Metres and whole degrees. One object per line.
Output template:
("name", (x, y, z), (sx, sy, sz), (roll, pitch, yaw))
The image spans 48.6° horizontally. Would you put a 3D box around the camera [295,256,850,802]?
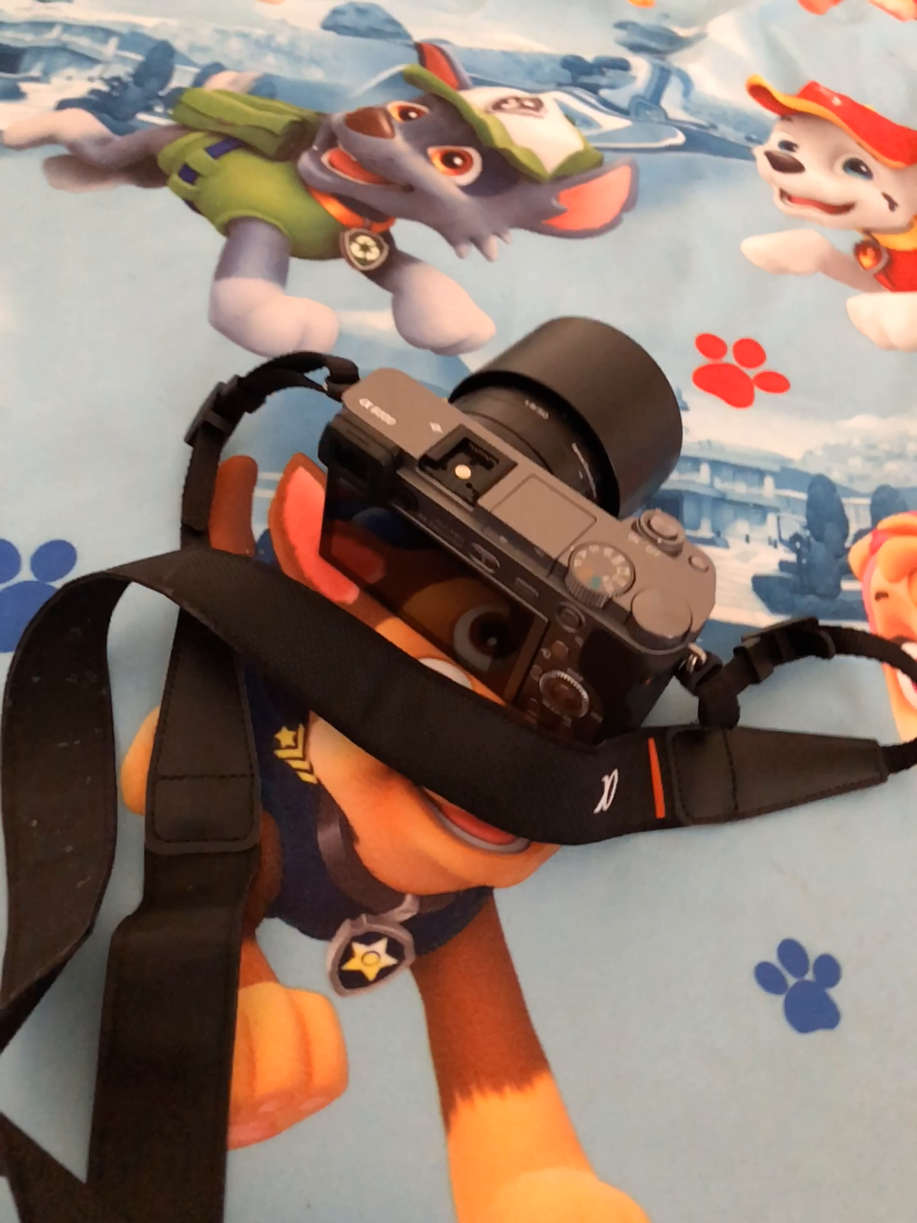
("camera", (0.033, -0.031, 0.339), (0.130, 0.080, 0.110), (37, 56, 14))
